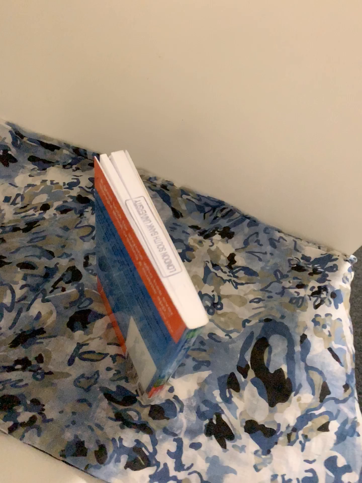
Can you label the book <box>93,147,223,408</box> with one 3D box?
[{"bbox_3d":[-0.038,0.047,0.313,0.024,0.203,0.141,-18,62,-23],"label":"book"}]
